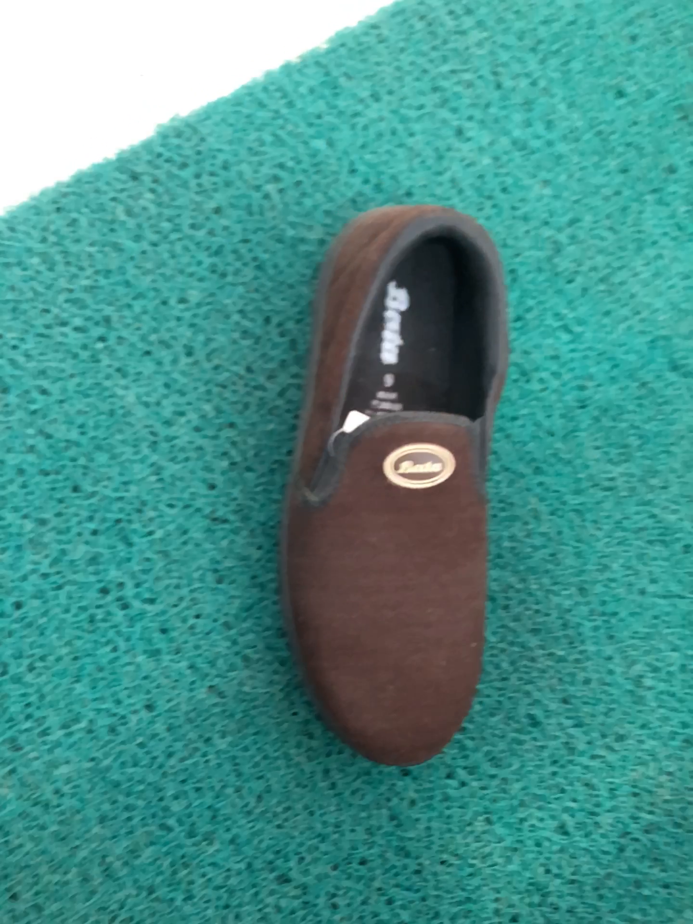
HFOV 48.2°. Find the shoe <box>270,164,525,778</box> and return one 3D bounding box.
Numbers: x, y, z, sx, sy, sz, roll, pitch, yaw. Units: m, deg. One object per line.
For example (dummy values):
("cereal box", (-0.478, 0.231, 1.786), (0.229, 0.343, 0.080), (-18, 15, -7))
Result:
("shoe", (0.021, 0.006, 0.383), (0.100, 0.100, 0.260), (3, 83, -10))
